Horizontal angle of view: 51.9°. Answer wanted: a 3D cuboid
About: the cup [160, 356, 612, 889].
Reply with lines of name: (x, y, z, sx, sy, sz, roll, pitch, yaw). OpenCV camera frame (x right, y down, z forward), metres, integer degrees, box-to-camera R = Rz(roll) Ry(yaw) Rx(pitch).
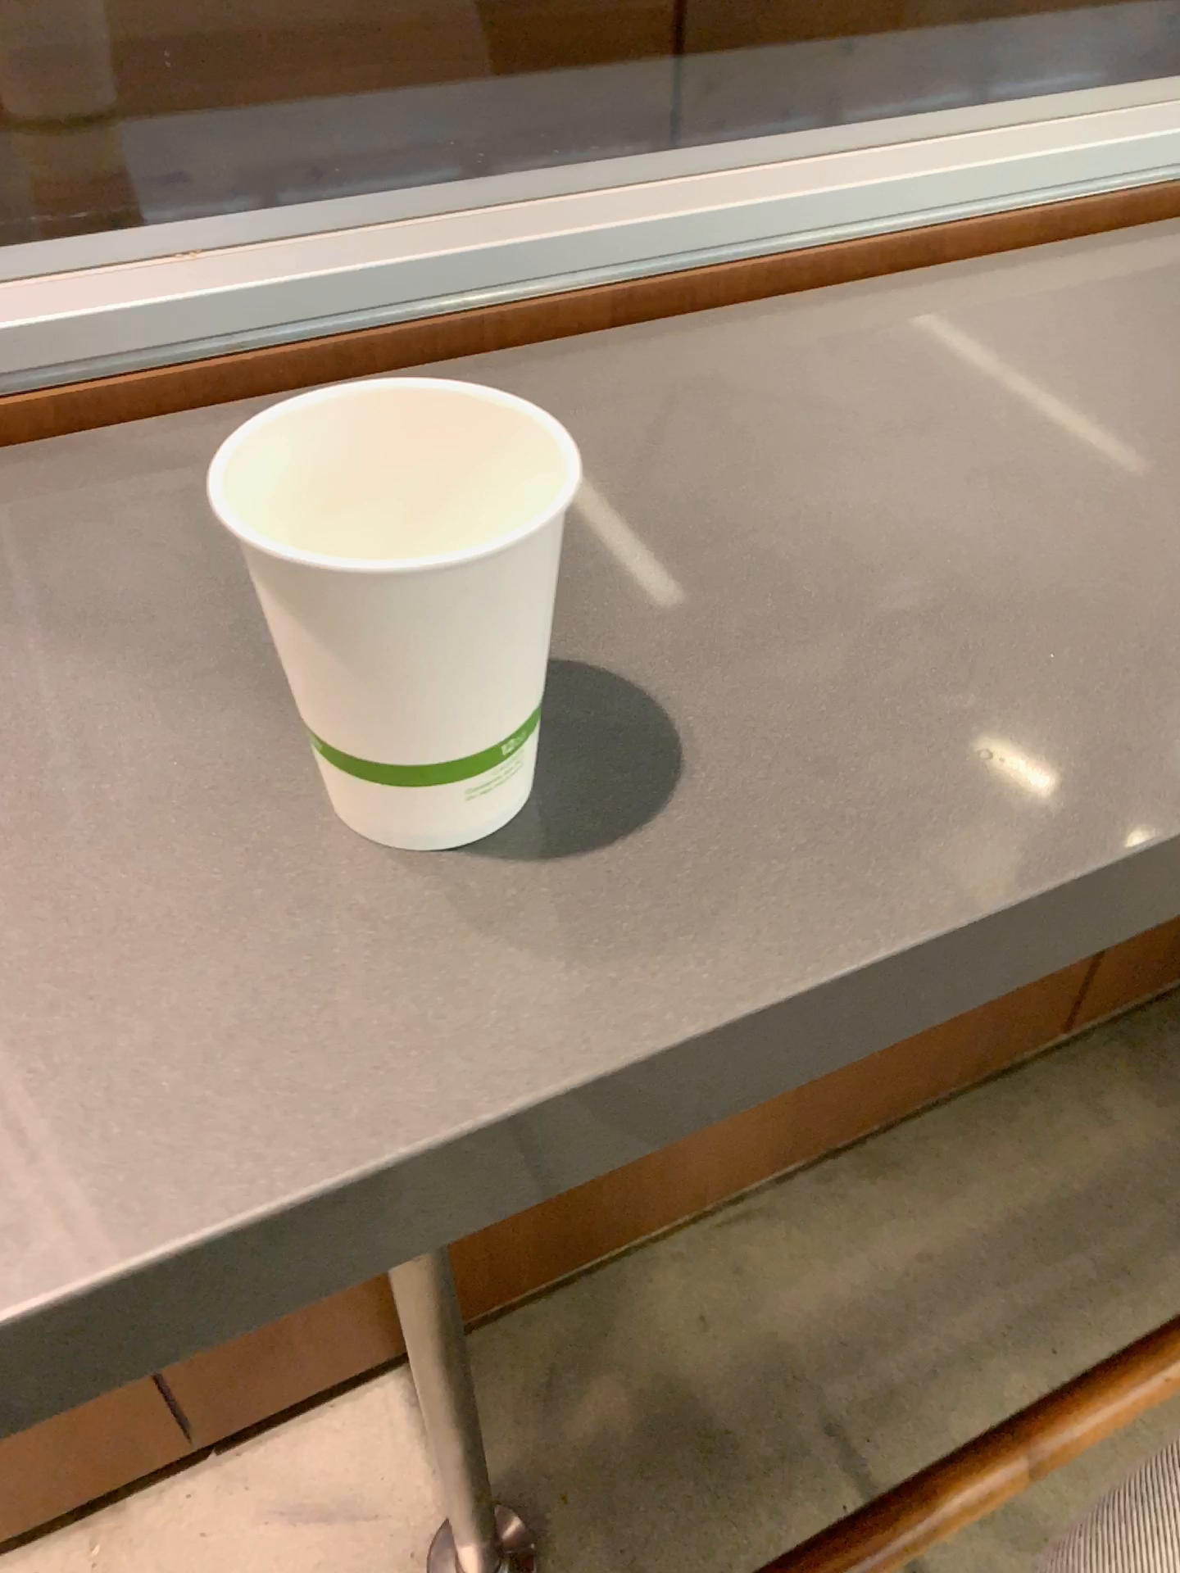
cup: (-0.042, -0.042, 0.309, 0.090, 0.099, 0.091, 0, 43, 0)
